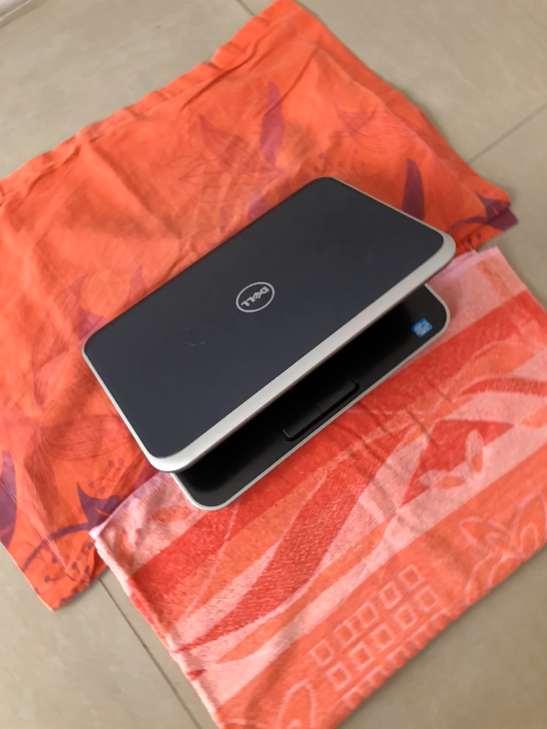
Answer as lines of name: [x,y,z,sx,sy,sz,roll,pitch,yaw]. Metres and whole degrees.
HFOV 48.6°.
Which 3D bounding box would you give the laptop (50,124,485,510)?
laptop: [-0.006,-0.052,0.649,0.346,0.129,0.241,-36,75,-11]
